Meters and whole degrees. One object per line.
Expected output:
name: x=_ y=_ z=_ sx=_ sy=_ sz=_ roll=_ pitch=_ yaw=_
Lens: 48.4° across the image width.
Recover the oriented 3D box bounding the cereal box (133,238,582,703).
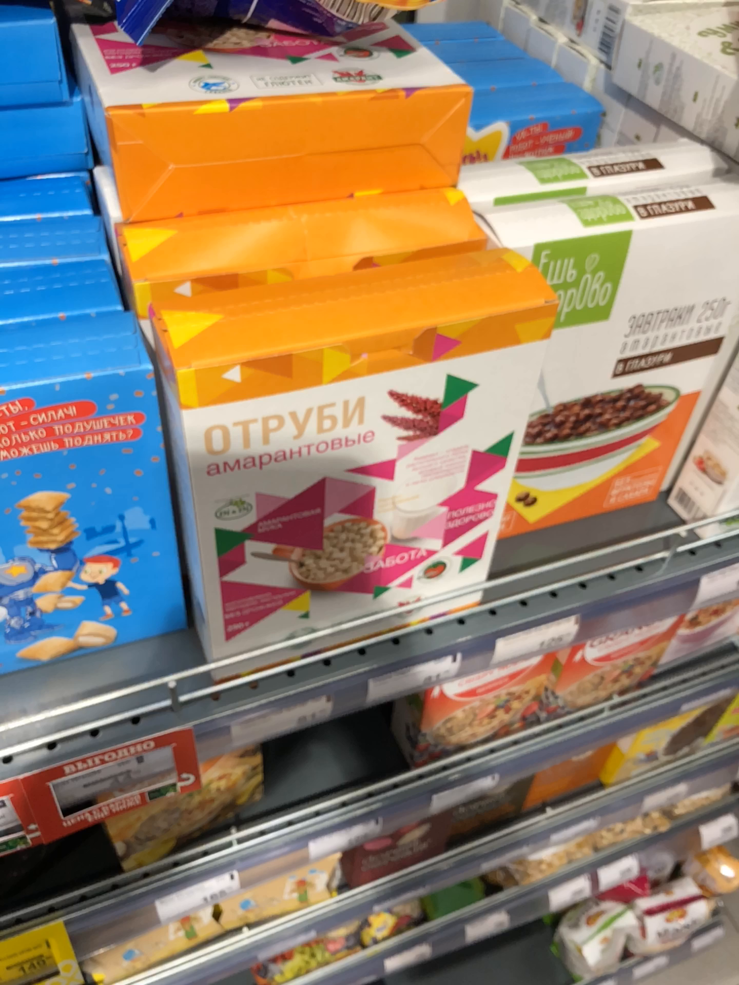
cereal box: x=-0.011 y=0.000 z=0.474 sx=0.200 sy=0.259 sz=0.060 roll=-14 pitch=49 yaw=-17
